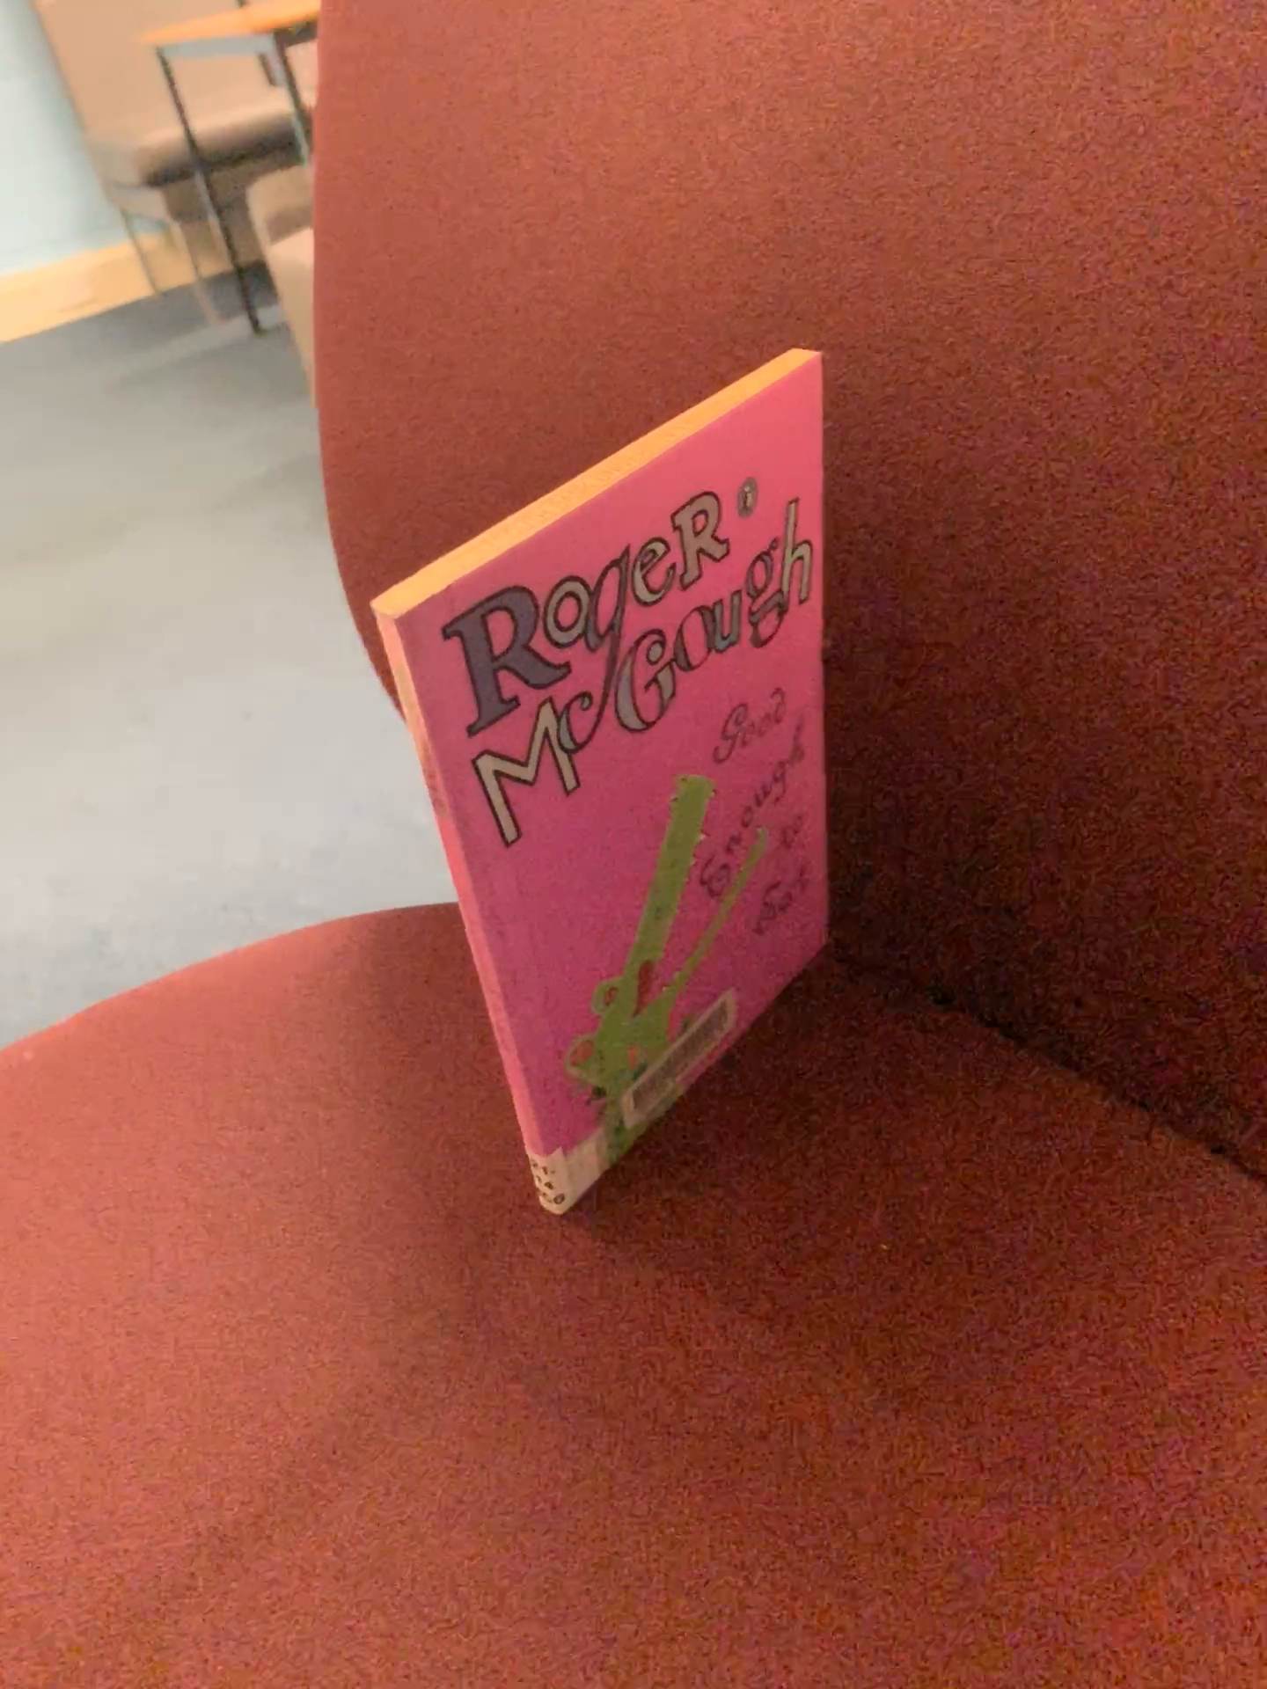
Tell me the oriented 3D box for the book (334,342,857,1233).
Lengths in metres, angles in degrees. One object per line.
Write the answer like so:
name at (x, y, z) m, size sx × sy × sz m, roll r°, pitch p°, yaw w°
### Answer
book at (0.008, -0.008, 0.333) m, size 0.017 × 0.189 × 0.141 m, roll 27°, pitch 51°, yaw 34°
